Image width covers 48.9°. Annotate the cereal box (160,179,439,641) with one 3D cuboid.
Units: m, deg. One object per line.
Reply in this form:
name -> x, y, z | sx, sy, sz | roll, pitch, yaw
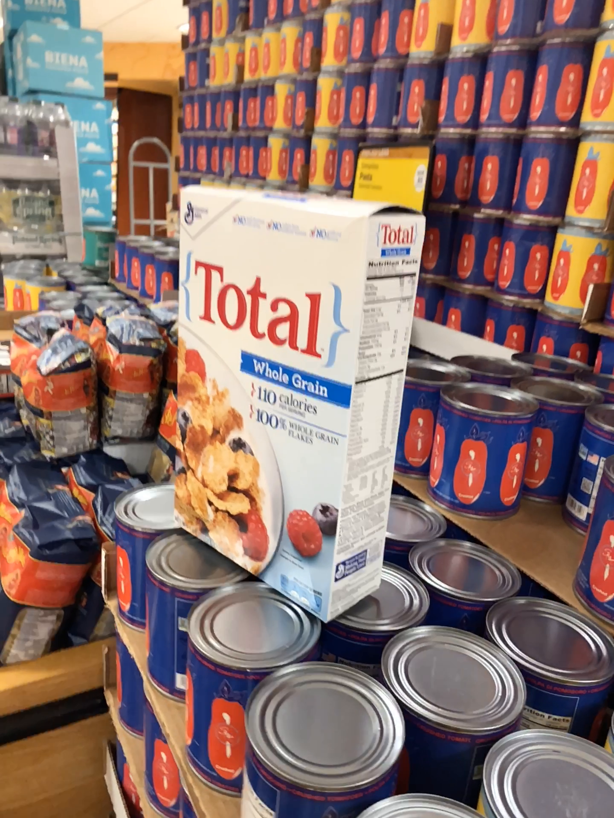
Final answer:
cereal box -> -0.025, -0.013, 0.539 | 0.210, 0.308, 0.070 | 21, 24, 40
